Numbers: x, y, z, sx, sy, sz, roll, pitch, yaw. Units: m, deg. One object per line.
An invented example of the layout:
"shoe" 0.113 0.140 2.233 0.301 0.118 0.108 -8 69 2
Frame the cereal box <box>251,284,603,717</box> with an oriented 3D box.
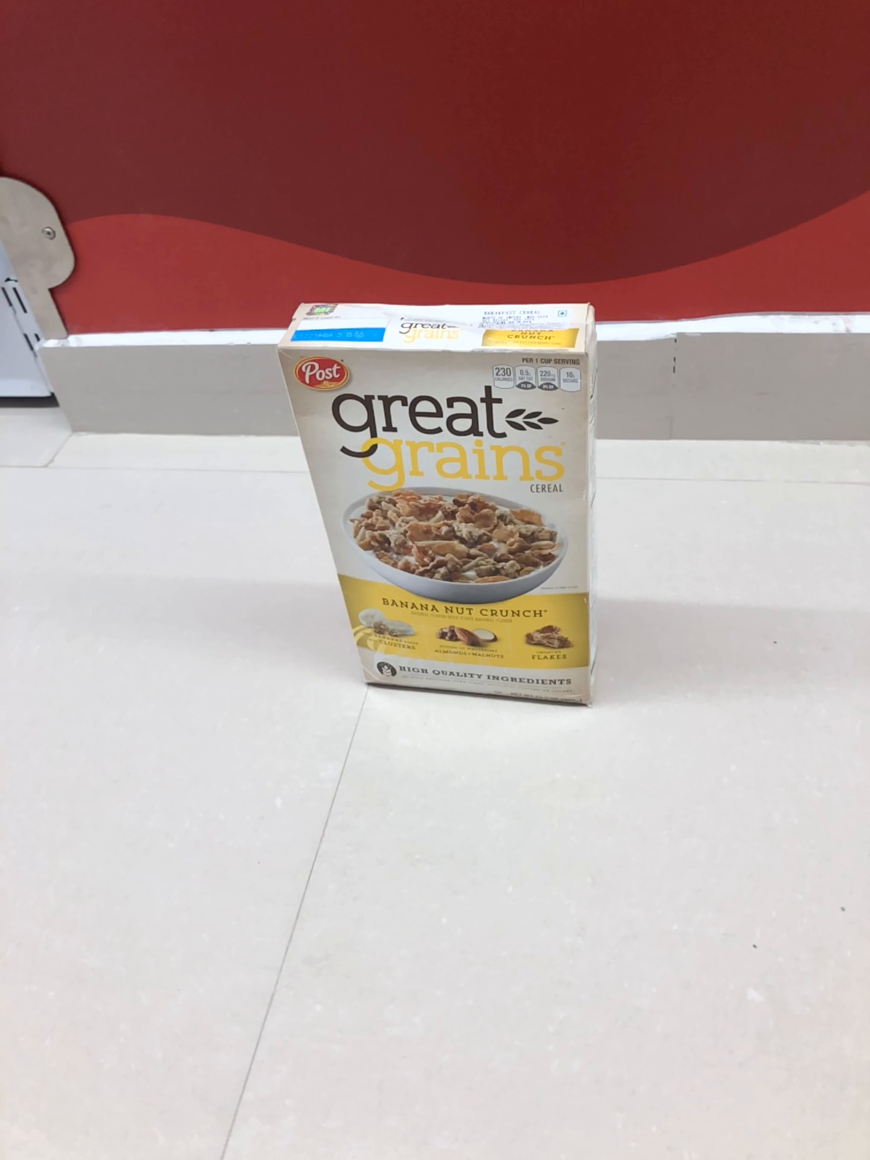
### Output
"cereal box" 0.011 -0.034 0.546 0.160 0.258 0.060 4 45 13
